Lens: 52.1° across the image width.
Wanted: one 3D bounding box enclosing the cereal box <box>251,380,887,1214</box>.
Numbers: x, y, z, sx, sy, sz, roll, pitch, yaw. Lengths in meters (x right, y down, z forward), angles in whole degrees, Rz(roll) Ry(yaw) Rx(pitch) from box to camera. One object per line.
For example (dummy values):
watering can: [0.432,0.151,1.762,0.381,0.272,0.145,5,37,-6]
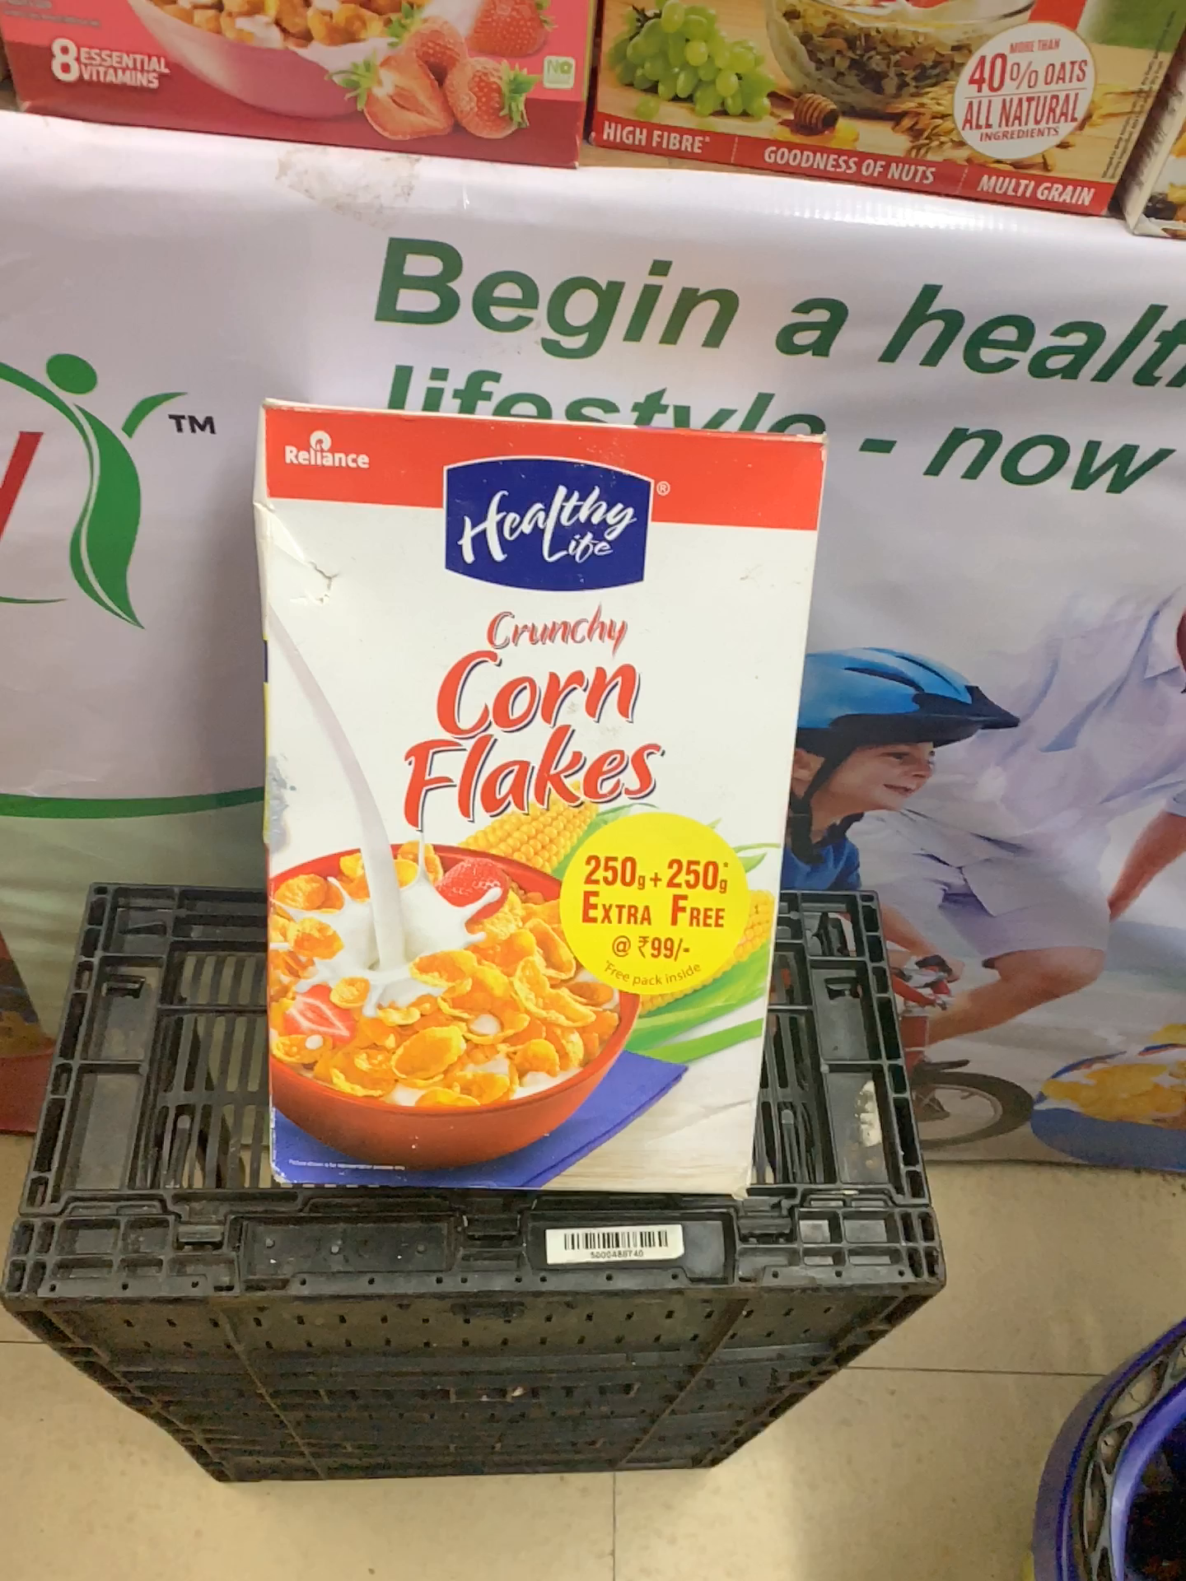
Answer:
cereal box: [-0.016,0.003,0.462,0.200,0.280,0.100,3,12,-2]
